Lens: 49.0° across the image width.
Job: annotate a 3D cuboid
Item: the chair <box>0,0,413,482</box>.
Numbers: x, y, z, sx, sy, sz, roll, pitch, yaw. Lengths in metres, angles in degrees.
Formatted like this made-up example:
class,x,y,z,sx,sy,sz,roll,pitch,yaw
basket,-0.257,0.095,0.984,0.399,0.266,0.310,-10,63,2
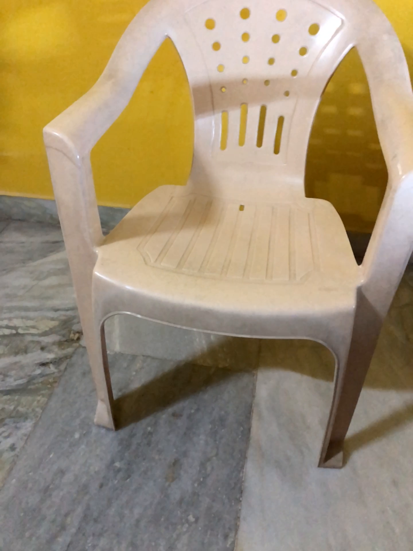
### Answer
class,x,y,z,sx,sy,sz,roll,pitch,yaw
chair,0.053,-0.128,0.841,0.530,0.785,0.564,6,39,7
